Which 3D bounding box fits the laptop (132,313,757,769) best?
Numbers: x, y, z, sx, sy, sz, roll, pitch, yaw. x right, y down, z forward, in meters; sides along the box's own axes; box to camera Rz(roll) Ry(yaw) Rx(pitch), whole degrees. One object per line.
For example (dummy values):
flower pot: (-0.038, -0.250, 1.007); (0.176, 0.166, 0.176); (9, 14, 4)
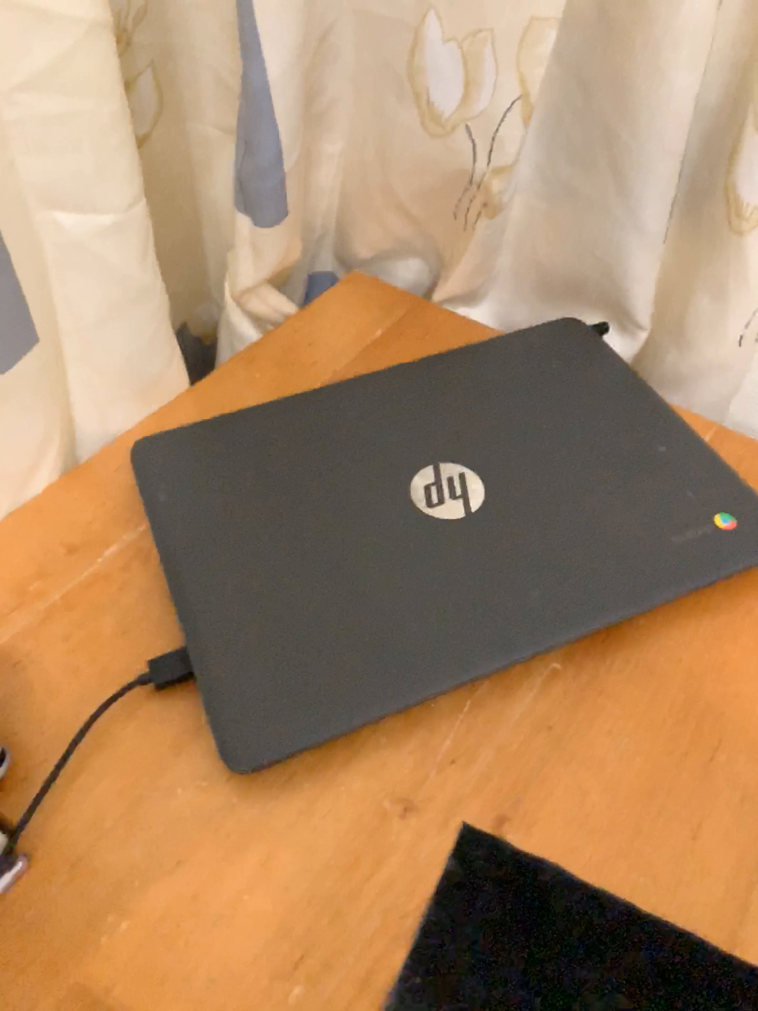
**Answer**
laptop: (0.030, -0.009, 0.369); (0.261, 0.004, 0.186); (-19, 50, -14)
